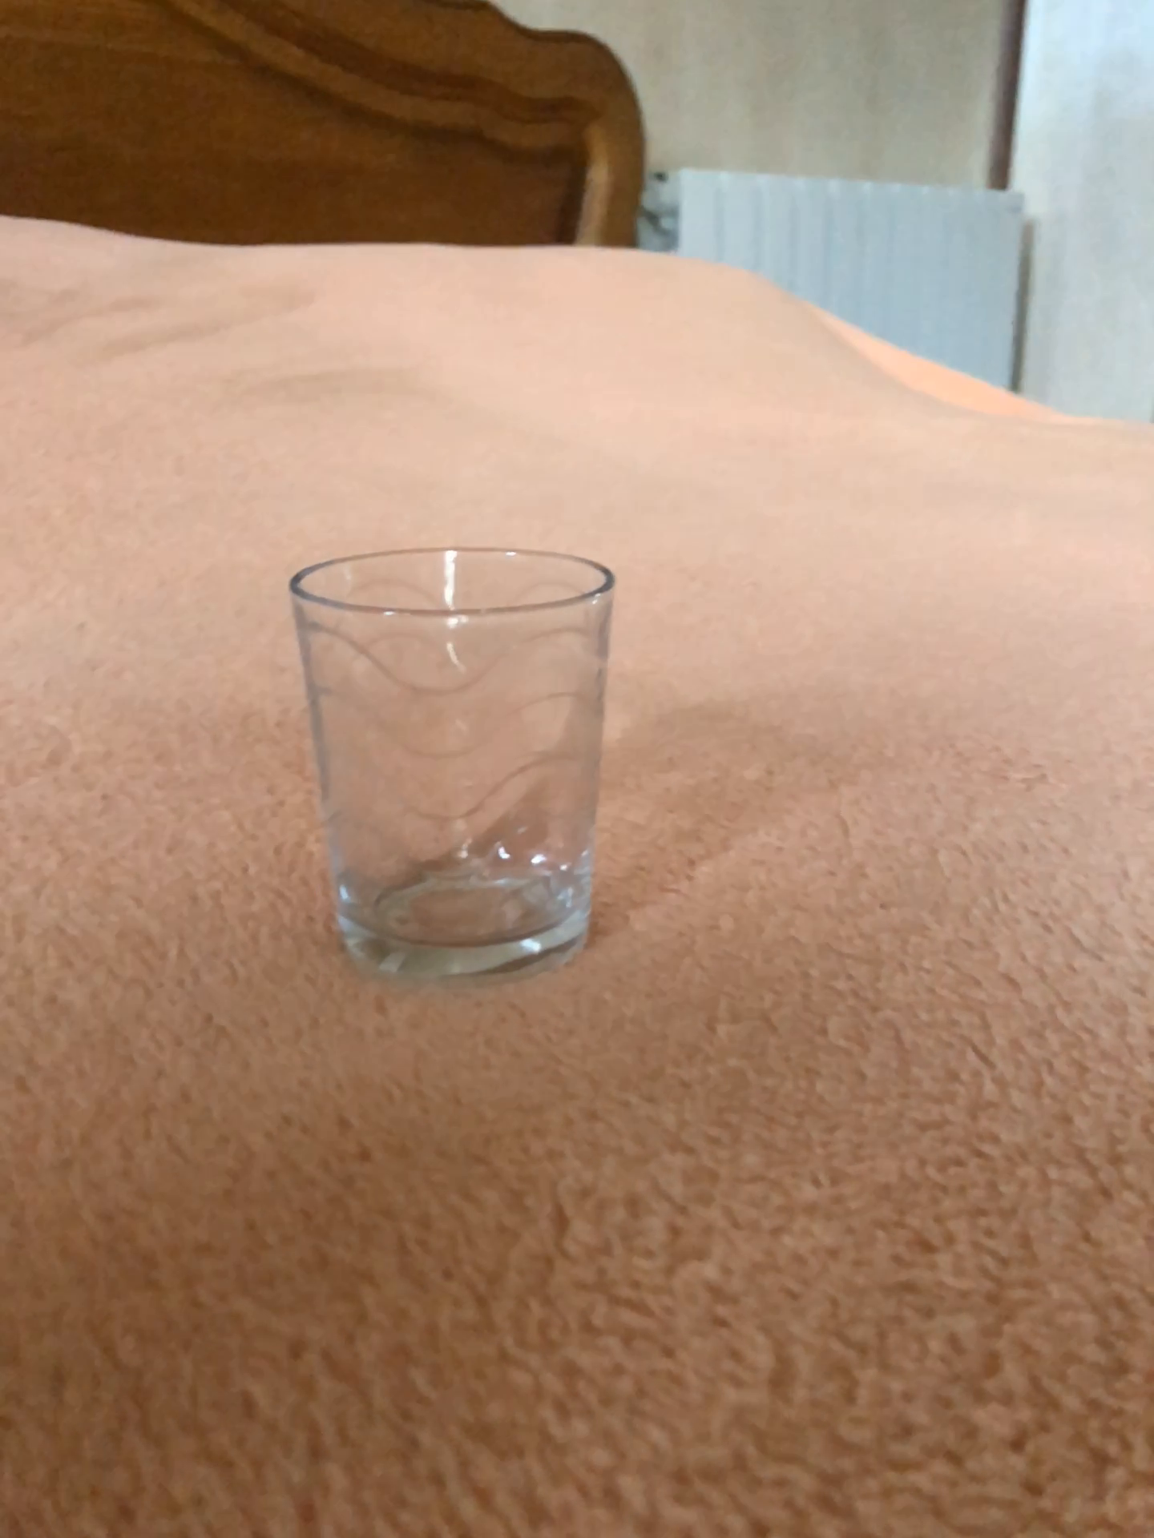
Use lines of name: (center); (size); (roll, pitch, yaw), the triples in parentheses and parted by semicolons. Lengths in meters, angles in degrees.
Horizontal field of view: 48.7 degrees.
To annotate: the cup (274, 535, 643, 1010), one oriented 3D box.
cup: (-0.019, -0.003, 0.263); (0.060, 0.080, 0.060); (0, 19, 0)
